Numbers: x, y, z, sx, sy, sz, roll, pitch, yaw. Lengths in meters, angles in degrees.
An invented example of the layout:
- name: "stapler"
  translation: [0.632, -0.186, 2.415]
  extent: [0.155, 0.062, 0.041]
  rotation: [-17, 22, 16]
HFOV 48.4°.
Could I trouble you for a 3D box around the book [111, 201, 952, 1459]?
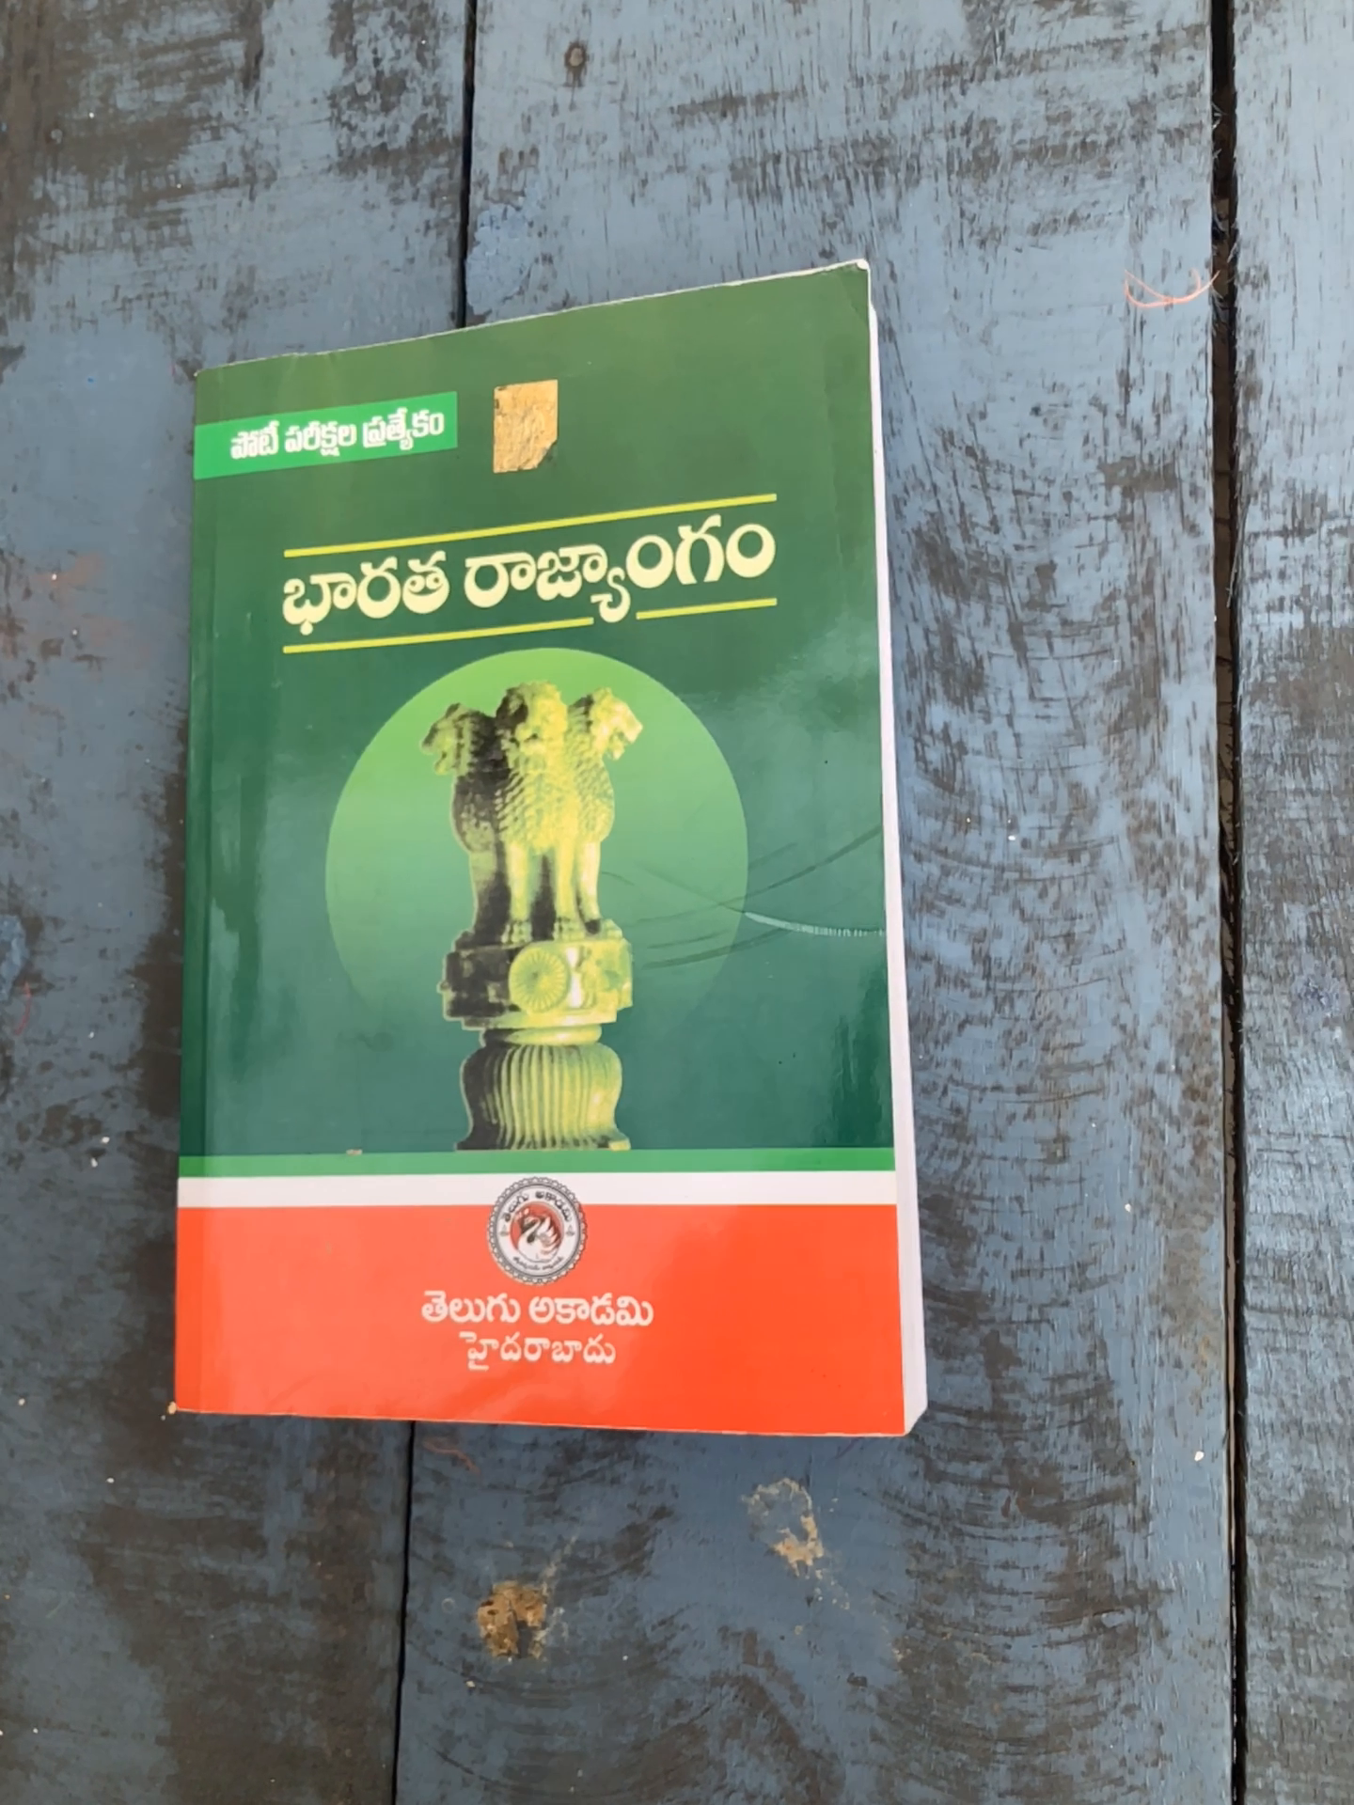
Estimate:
- name: "book"
  translation: [-0.031, -0.013, 0.311]
  extent: [0.160, 0.040, 0.230]
  rotation: [-3, 82, 15]
